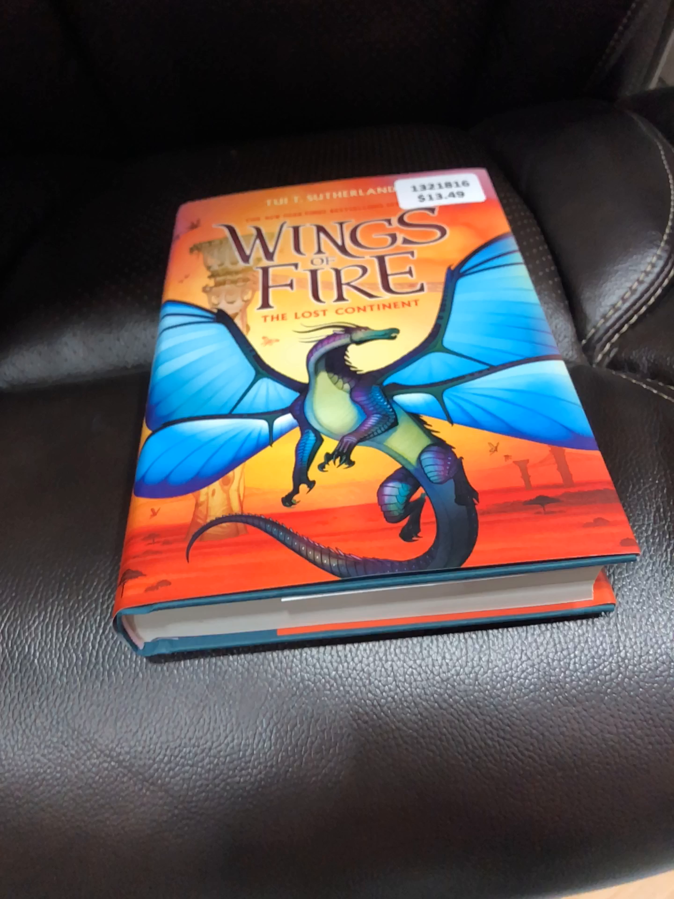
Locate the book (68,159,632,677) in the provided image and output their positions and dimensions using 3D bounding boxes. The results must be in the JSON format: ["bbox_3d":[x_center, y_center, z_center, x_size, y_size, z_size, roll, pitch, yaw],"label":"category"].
[{"bbox_3d":[-0.003,-0.032,0.281,0.148,0.030,0.218,-6,48,1],"label":"book"}]
